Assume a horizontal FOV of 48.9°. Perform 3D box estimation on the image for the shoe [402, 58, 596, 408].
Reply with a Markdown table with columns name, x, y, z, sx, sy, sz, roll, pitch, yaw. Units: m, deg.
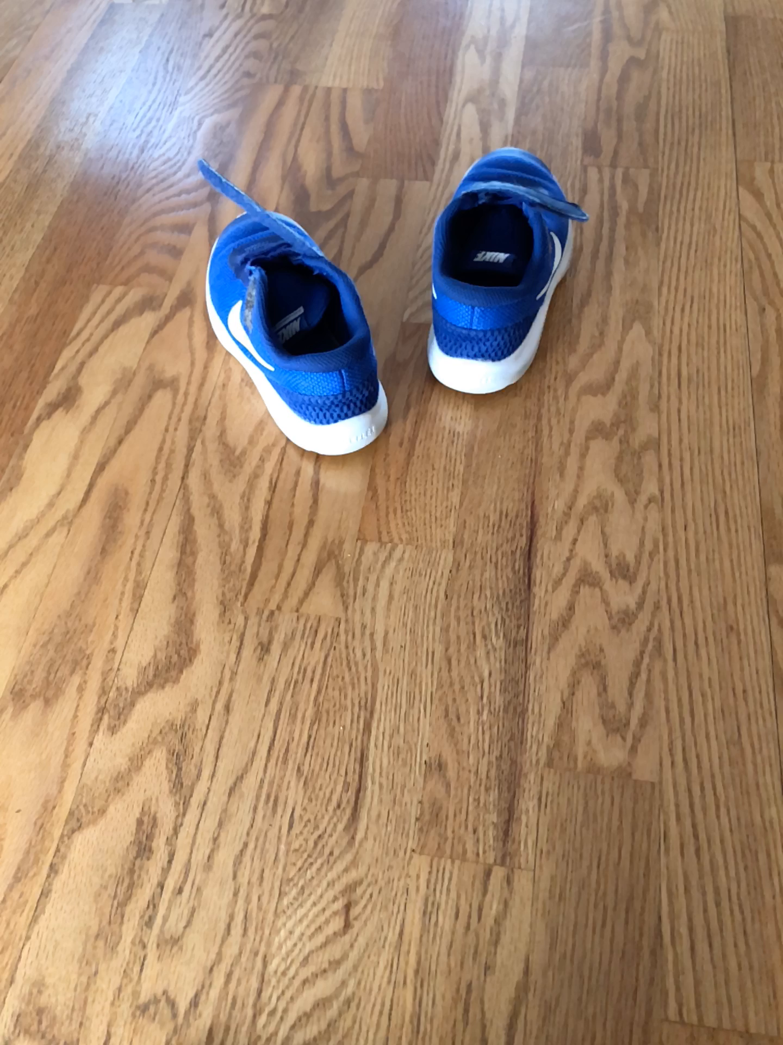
| name | x | y | z | sx | sy | sz | roll | pitch | yaw |
| --- | --- | --- | --- | --- | --- | --- | --- | --- | --- |
| shoe | 0.072 | -0.190 | 0.553 | 0.093 | 0.092 | 0.215 | 7 | 59 | 8 |

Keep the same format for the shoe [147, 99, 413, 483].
| name | x | y | z | sx | sy | sz | roll | pitch | yaw |
| --- | --- | --- | --- | --- | --- | --- | --- | --- | --- |
| shoe | -0.070 | -0.147 | 0.527 | 0.093 | 0.092 | 0.215 | -19 | 59 | -8 |
